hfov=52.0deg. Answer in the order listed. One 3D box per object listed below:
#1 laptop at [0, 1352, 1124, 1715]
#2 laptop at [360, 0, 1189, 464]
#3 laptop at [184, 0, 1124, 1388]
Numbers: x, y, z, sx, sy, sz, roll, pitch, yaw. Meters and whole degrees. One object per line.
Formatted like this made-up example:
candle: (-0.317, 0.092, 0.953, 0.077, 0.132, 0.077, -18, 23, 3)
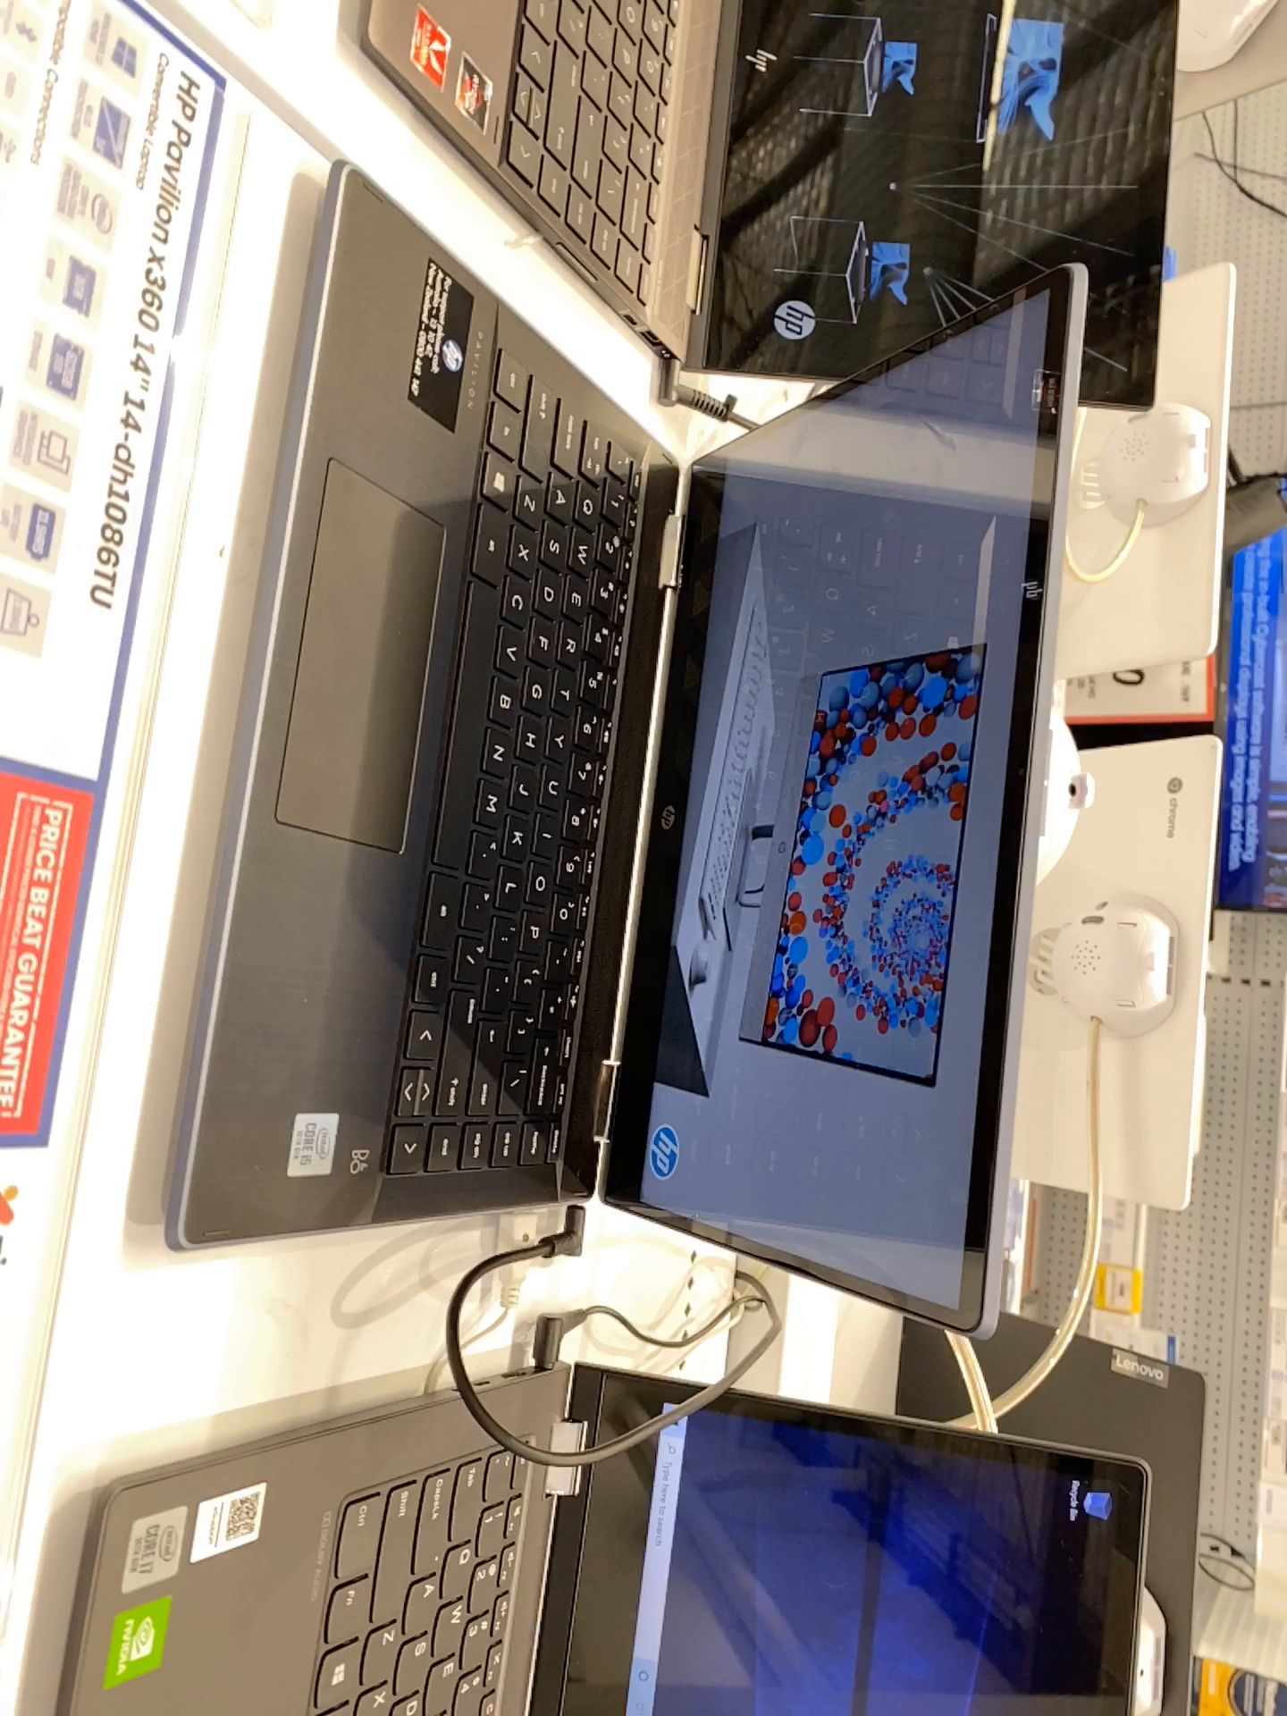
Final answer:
laptop: (0.003, 0.347, 0.395, 0.296, 0.199, 0.306, 23, 72, -58)
laptop: (0.090, -0.384, 0.522, 0.326, 0.173, 0.325, 18, 74, -57)
laptop: (0.026, -0.034, 0.423, 0.212, 0.189, 0.313, 18, 77, -59)
